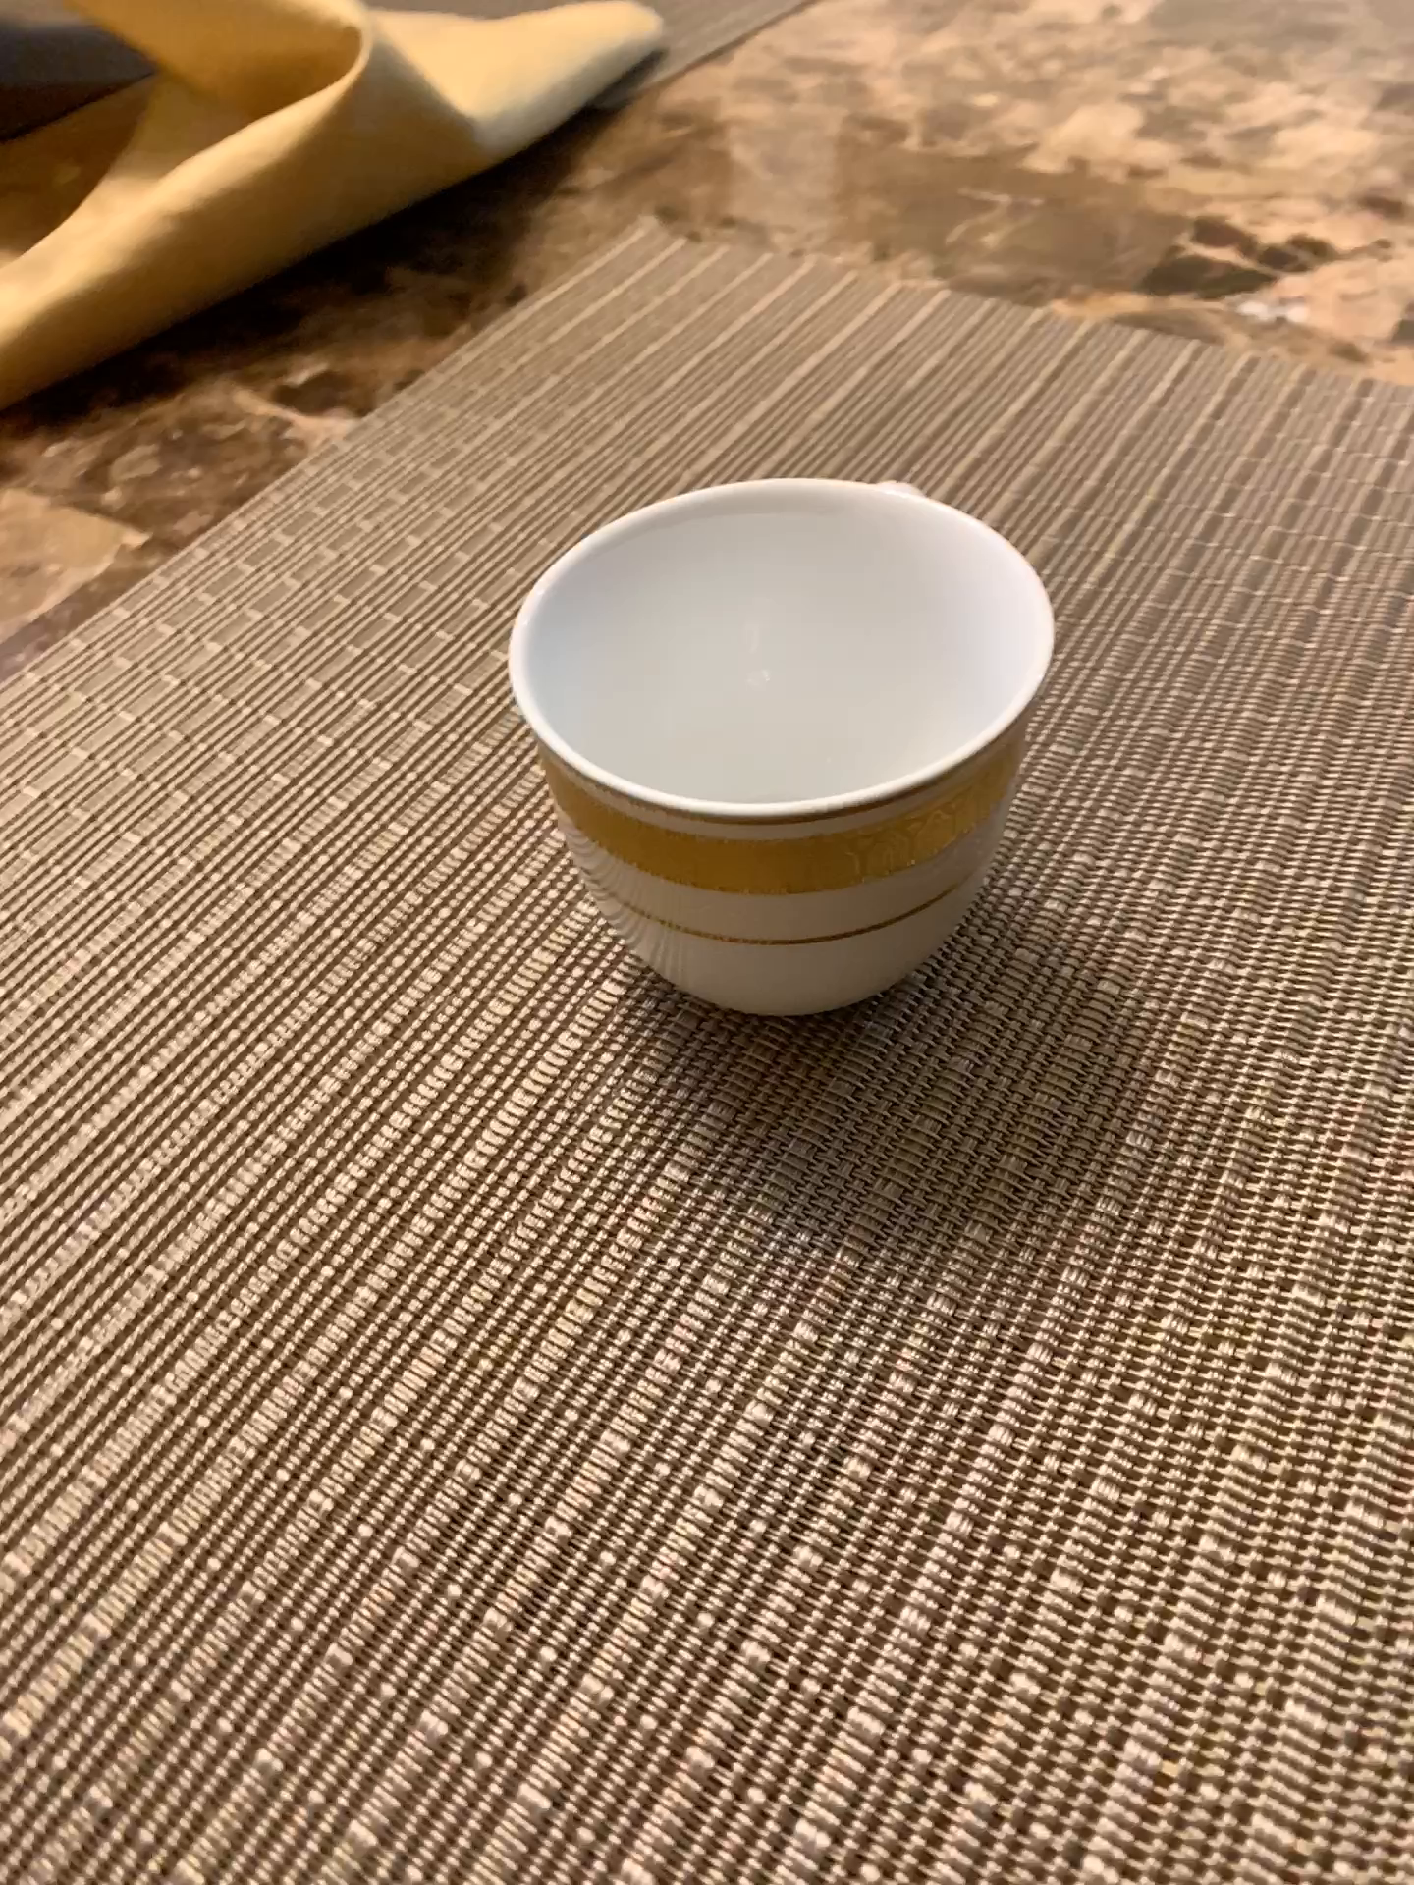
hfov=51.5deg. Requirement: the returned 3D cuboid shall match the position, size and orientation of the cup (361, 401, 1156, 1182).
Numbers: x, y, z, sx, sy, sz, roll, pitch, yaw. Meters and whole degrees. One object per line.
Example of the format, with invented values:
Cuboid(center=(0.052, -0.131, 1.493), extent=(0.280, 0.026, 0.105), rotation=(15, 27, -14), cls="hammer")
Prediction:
Cuboid(center=(0.014, -0.031, 0.235), extent=(0.082, 0.055, 0.104), rotation=(16, 51, 19), cls="cup")
